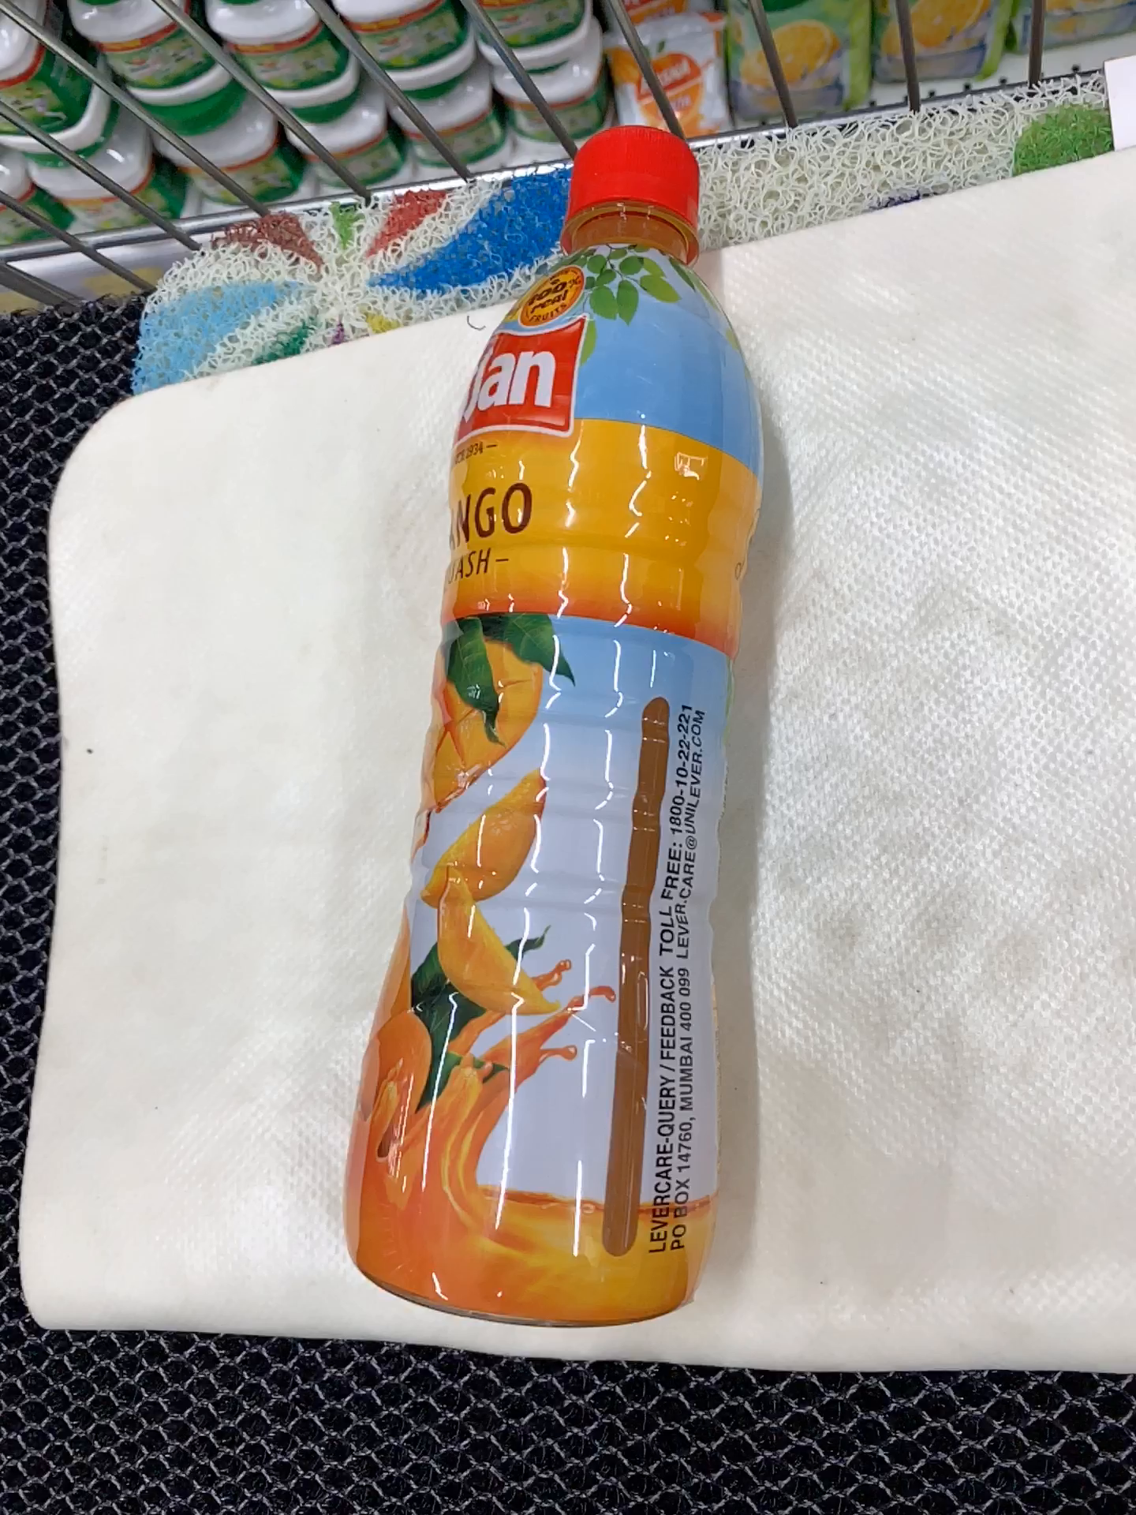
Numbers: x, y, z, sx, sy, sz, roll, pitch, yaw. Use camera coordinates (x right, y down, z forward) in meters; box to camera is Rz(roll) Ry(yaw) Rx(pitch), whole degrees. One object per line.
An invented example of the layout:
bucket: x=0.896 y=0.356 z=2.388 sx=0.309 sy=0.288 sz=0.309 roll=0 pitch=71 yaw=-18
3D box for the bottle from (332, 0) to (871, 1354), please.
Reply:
bottle: x=0.003 y=-0.018 z=0.235 sx=0.080 sy=0.070 sz=0.230 roll=3 pitch=87 yaw=-17
